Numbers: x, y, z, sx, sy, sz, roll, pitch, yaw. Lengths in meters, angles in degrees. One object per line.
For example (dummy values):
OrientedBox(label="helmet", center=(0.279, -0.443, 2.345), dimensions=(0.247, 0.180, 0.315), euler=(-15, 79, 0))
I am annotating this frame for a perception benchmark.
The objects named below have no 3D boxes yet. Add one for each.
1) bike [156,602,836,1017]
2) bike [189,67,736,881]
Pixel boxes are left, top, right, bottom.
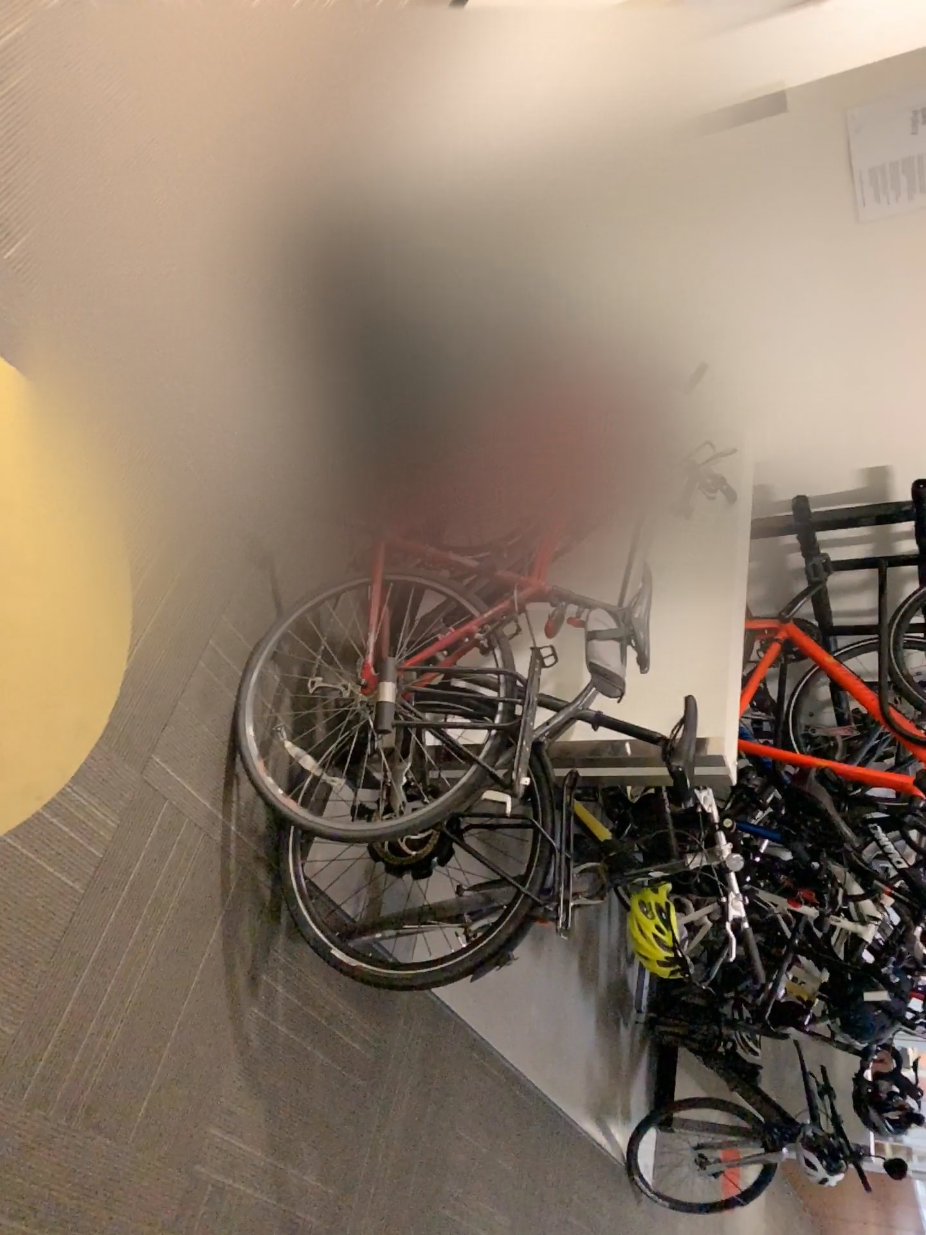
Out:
OrientedBox(label="bike", center=(0.108, 0.497, 2.203), dimensions=(0.696, 1.148, 0.726), euler=(37, 59, -57))
OrientedBox(label="bike", center=(0.071, -0.259, 2.289), dimensions=(0.606, 0.927, 1.612), euler=(34, 59, -58))
